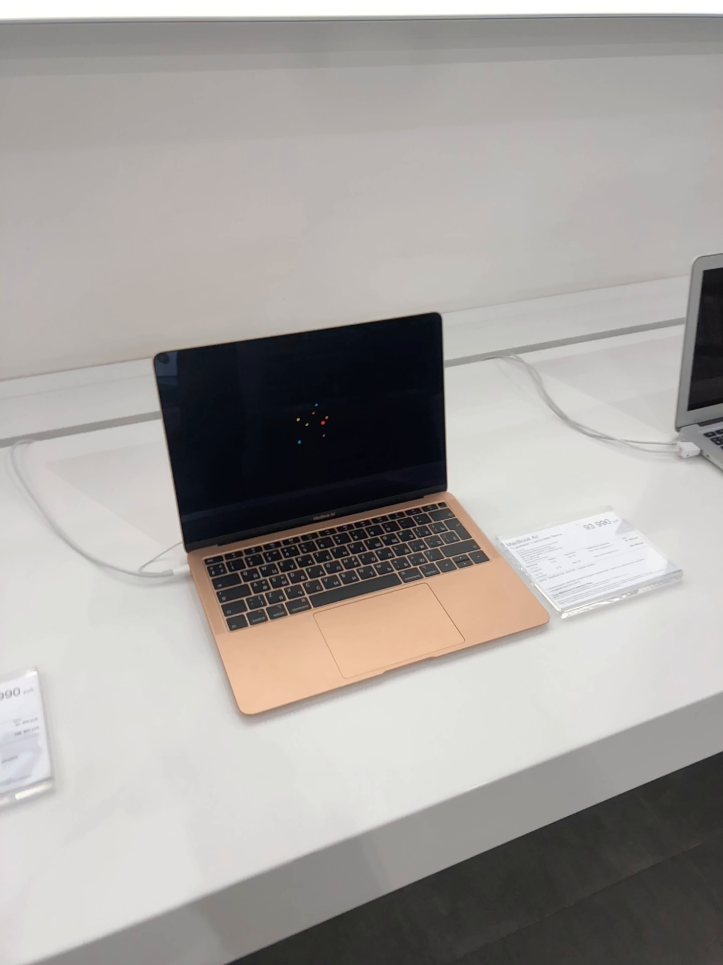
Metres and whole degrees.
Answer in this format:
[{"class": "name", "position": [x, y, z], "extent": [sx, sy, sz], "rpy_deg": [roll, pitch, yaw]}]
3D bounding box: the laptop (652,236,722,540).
[{"class": "laptop", "position": [0.612, -0.139, 0.977], "extent": [0.363, 0.209, 0.284], "rpy_deg": [-12, 38, -21]}]

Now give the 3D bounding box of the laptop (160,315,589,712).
[{"class": "laptop", "position": [-0.004, 0.005, 0.741], "extent": [0.297, 0.188, 0.265], "rpy_deg": [-12, 39, -19]}]
